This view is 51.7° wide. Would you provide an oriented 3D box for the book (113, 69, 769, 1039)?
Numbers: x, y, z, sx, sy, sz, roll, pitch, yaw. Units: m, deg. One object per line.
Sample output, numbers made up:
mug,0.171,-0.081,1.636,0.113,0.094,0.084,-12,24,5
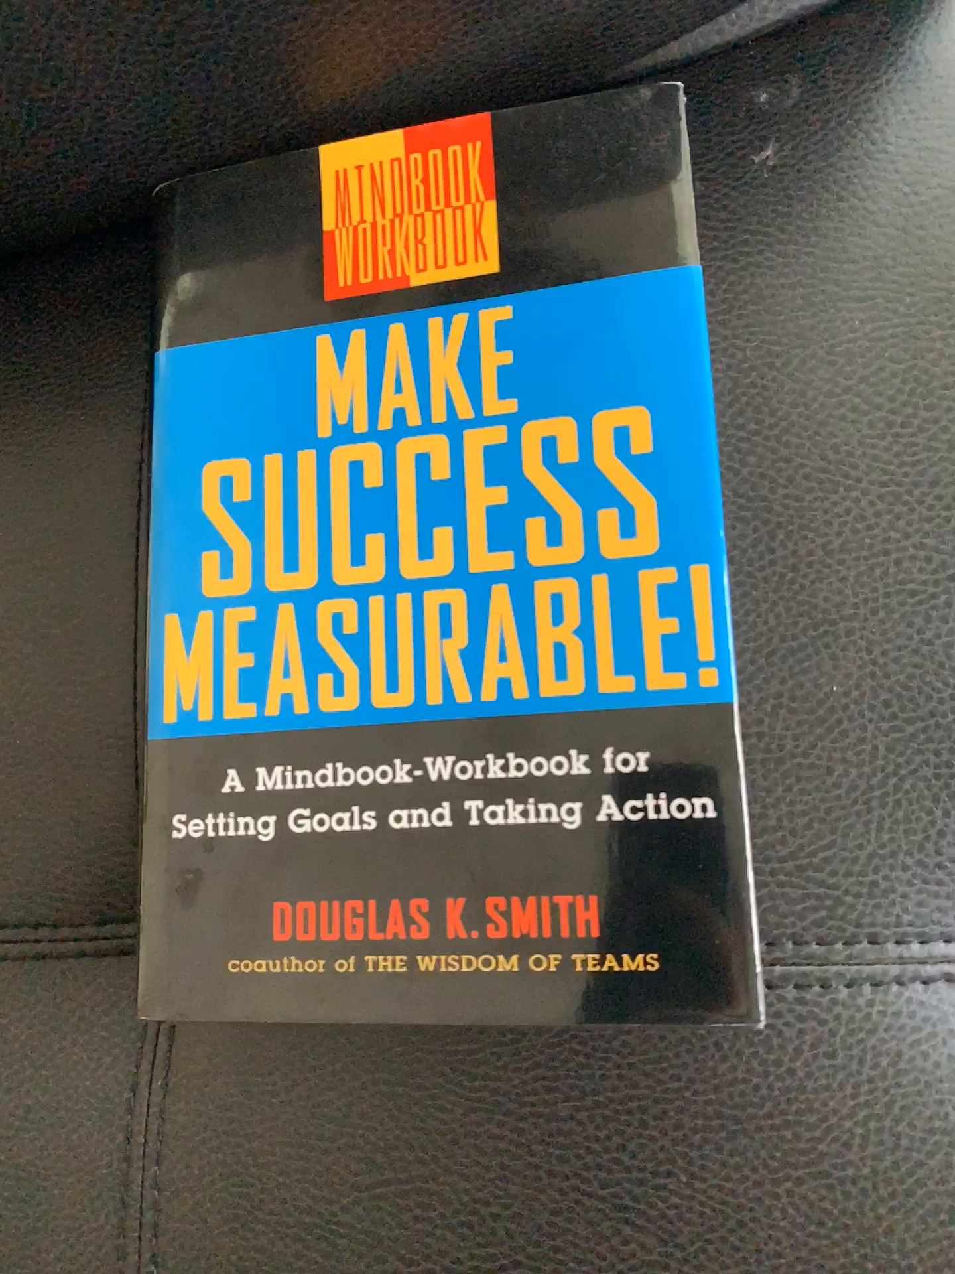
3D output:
book,-0.017,-0.021,0.271,0.164,0.030,0.240,-5,80,13
